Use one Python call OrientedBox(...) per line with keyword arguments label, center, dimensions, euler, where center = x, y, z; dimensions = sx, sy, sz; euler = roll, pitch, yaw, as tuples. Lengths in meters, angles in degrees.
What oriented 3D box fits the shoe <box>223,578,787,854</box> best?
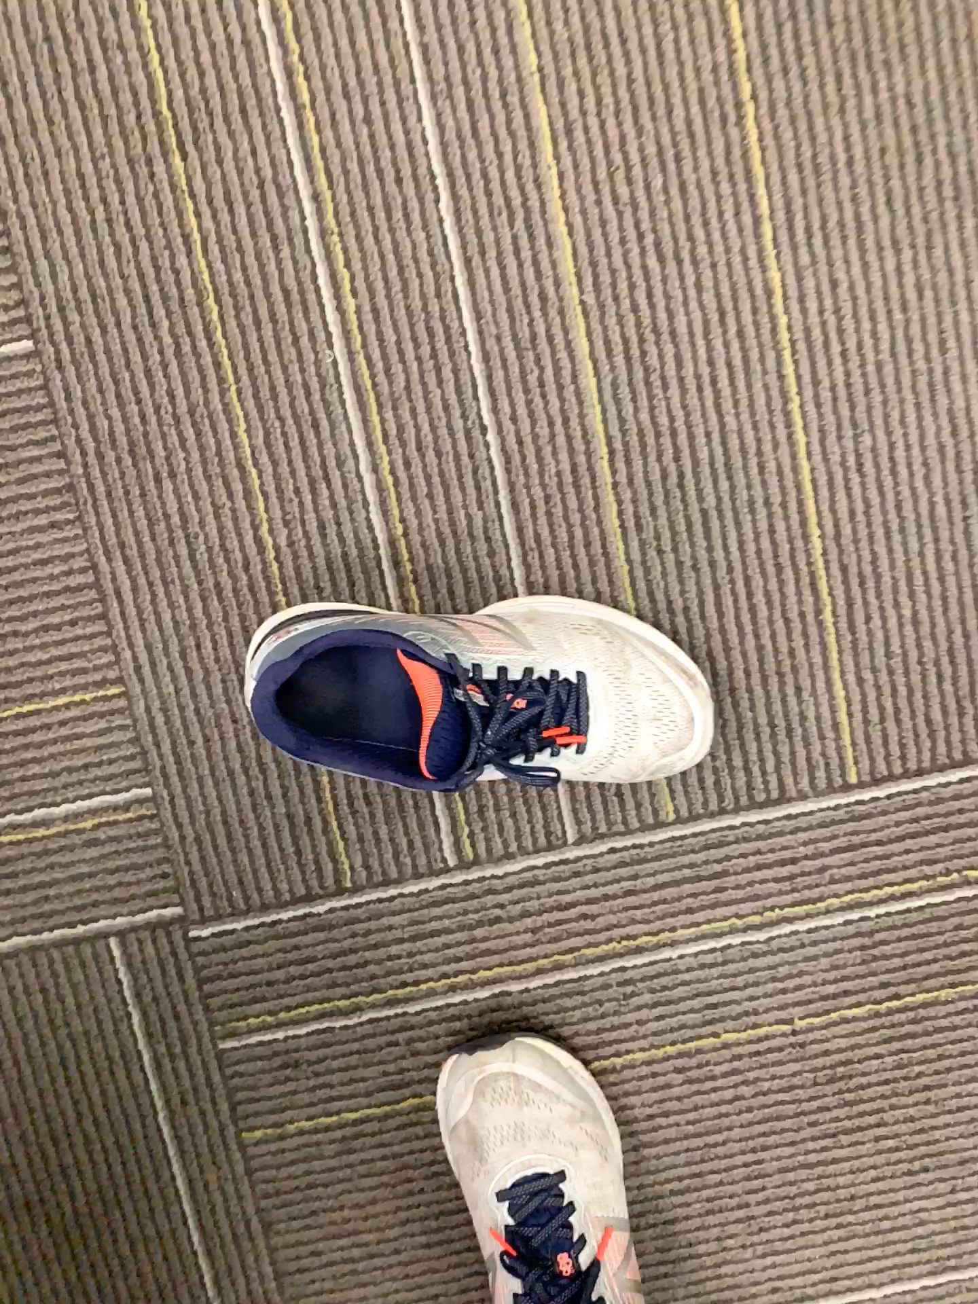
OrientedBox(label="shoe", center=(0.005, 0.028, 0.533), dimensions=(0.260, 0.120, 0.110), euler=(3, 99, -1))
